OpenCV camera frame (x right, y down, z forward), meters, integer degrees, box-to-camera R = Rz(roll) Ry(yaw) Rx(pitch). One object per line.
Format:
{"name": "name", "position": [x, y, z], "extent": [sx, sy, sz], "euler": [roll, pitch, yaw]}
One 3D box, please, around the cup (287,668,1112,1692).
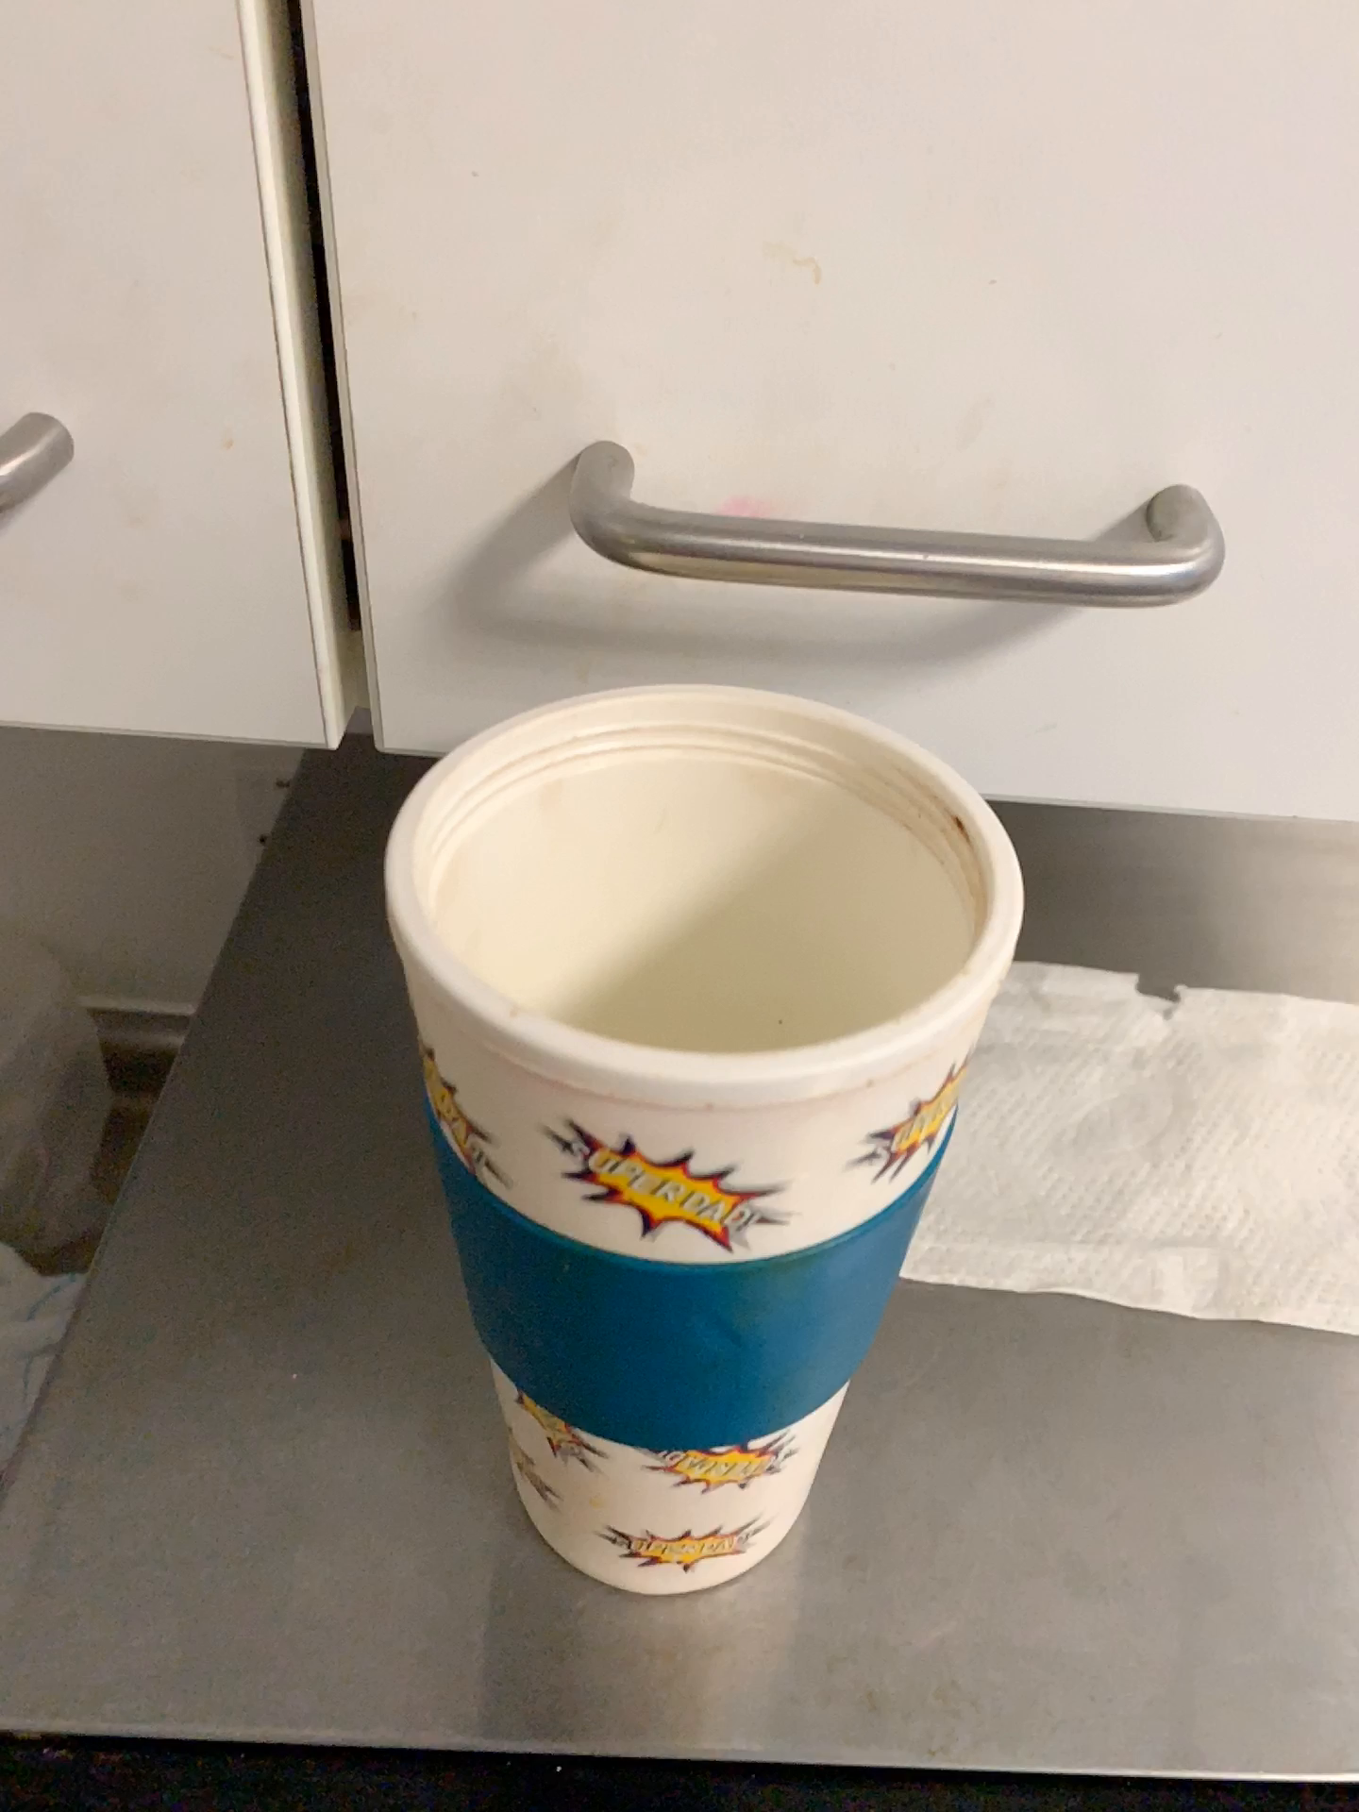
{"name": "cup", "position": [-0.001, 0.049, 0.240], "extent": [0.092, 0.146, 0.097], "euler": [2, 38, -2]}
